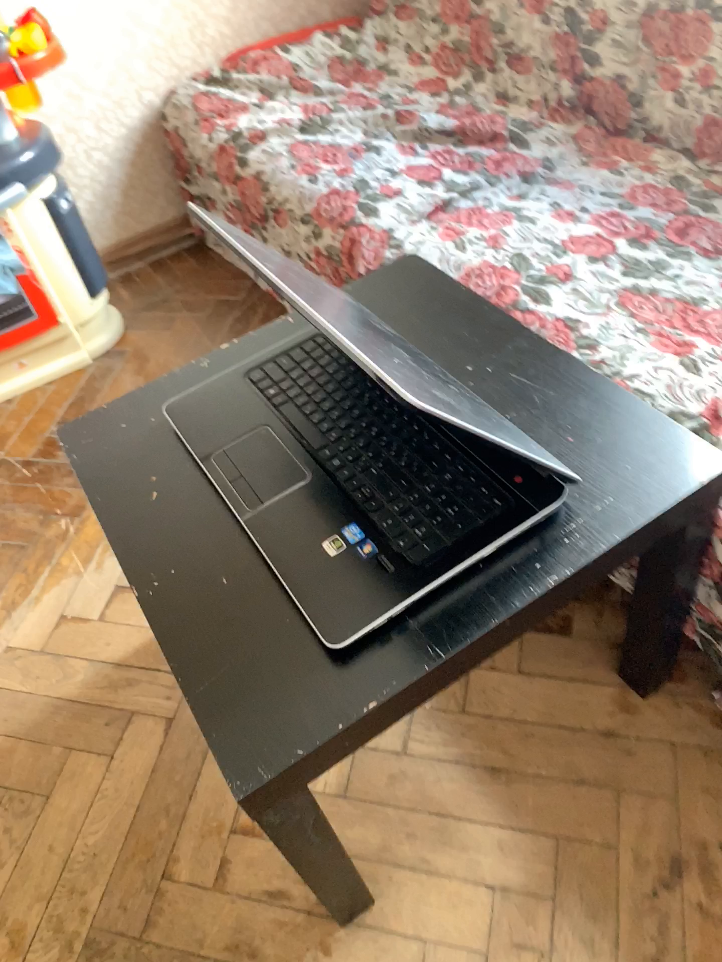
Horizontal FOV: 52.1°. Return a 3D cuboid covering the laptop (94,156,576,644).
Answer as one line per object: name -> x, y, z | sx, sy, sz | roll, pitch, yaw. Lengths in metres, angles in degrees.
laptop -> -0.039, -0.108, 0.716 | 0.257, 0.201, 0.406 | -30, 49, -14
